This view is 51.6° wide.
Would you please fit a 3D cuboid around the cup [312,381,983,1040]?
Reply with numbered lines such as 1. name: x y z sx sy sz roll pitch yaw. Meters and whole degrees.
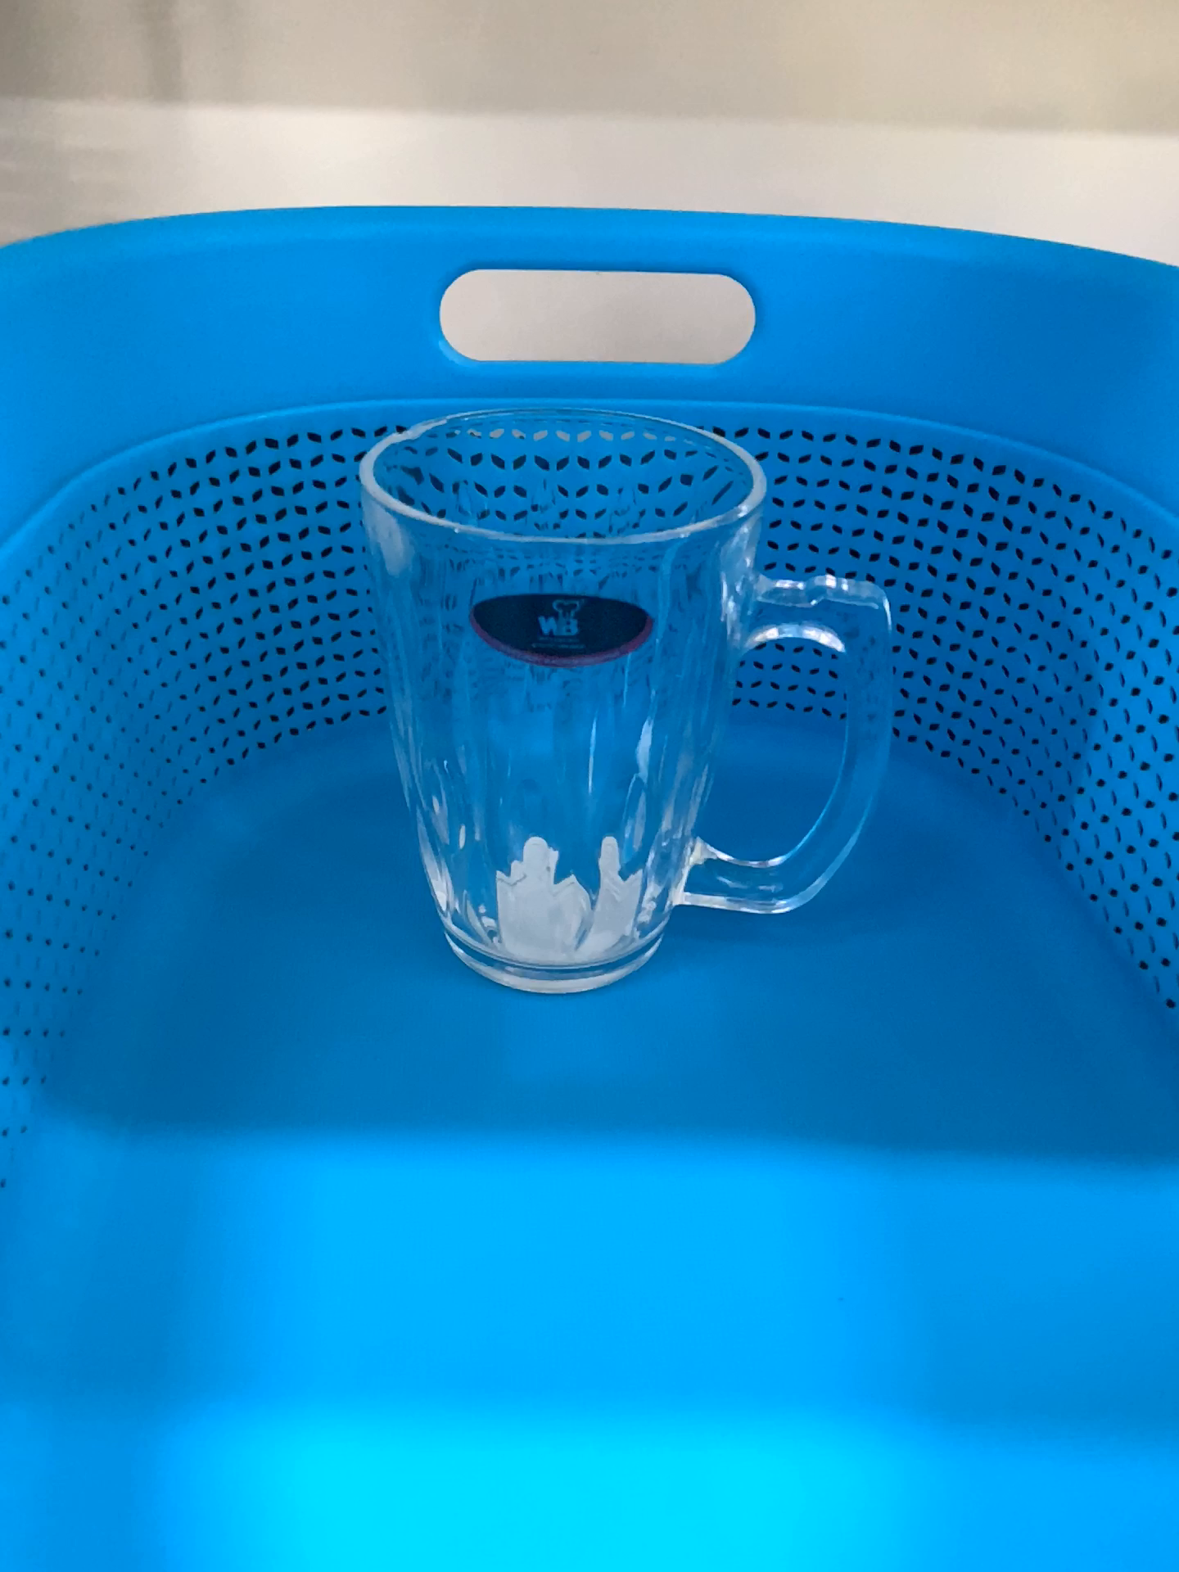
1. cup: 0.010 -0.018 0.263 0.110 0.109 0.081 4 33 3
